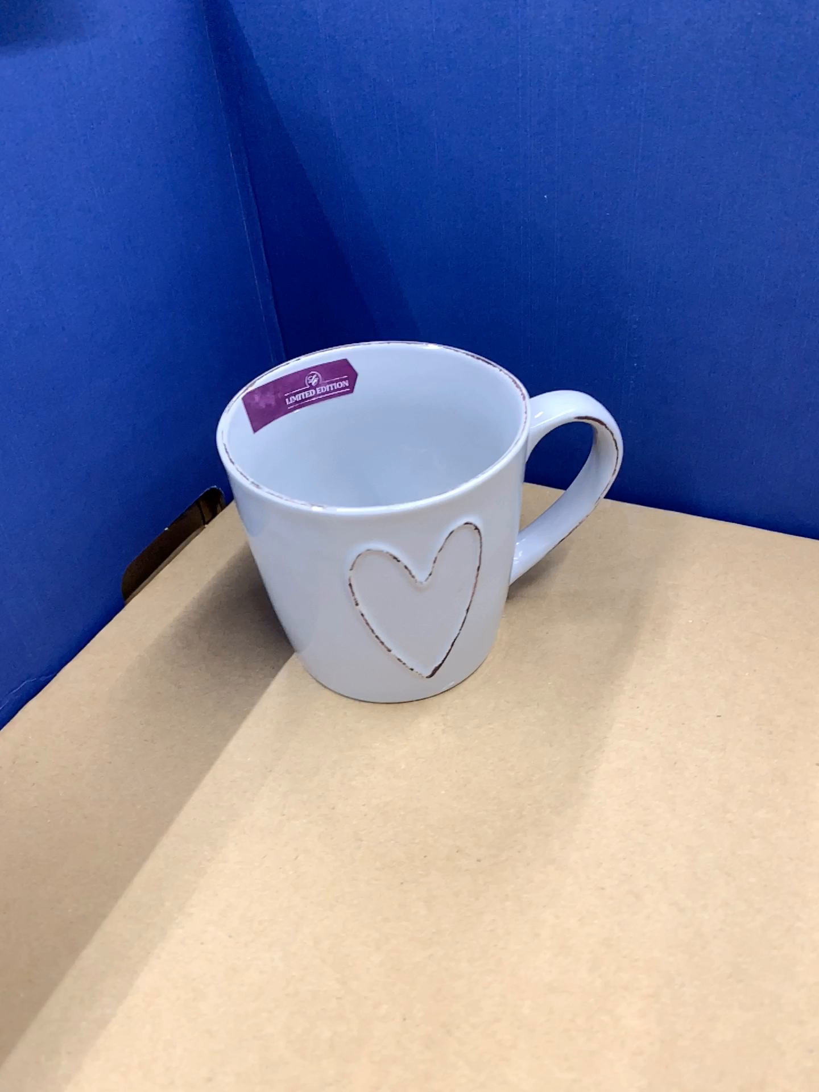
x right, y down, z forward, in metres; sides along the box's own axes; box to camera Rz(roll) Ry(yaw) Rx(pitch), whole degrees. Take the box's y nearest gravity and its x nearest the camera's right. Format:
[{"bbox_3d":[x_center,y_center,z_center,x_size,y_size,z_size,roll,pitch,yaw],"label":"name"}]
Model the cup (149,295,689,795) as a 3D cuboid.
[{"bbox_3d":[0.002,-0.008,0.264,0.124,0.085,0.091,-21,40,-19],"label":"cup"}]
